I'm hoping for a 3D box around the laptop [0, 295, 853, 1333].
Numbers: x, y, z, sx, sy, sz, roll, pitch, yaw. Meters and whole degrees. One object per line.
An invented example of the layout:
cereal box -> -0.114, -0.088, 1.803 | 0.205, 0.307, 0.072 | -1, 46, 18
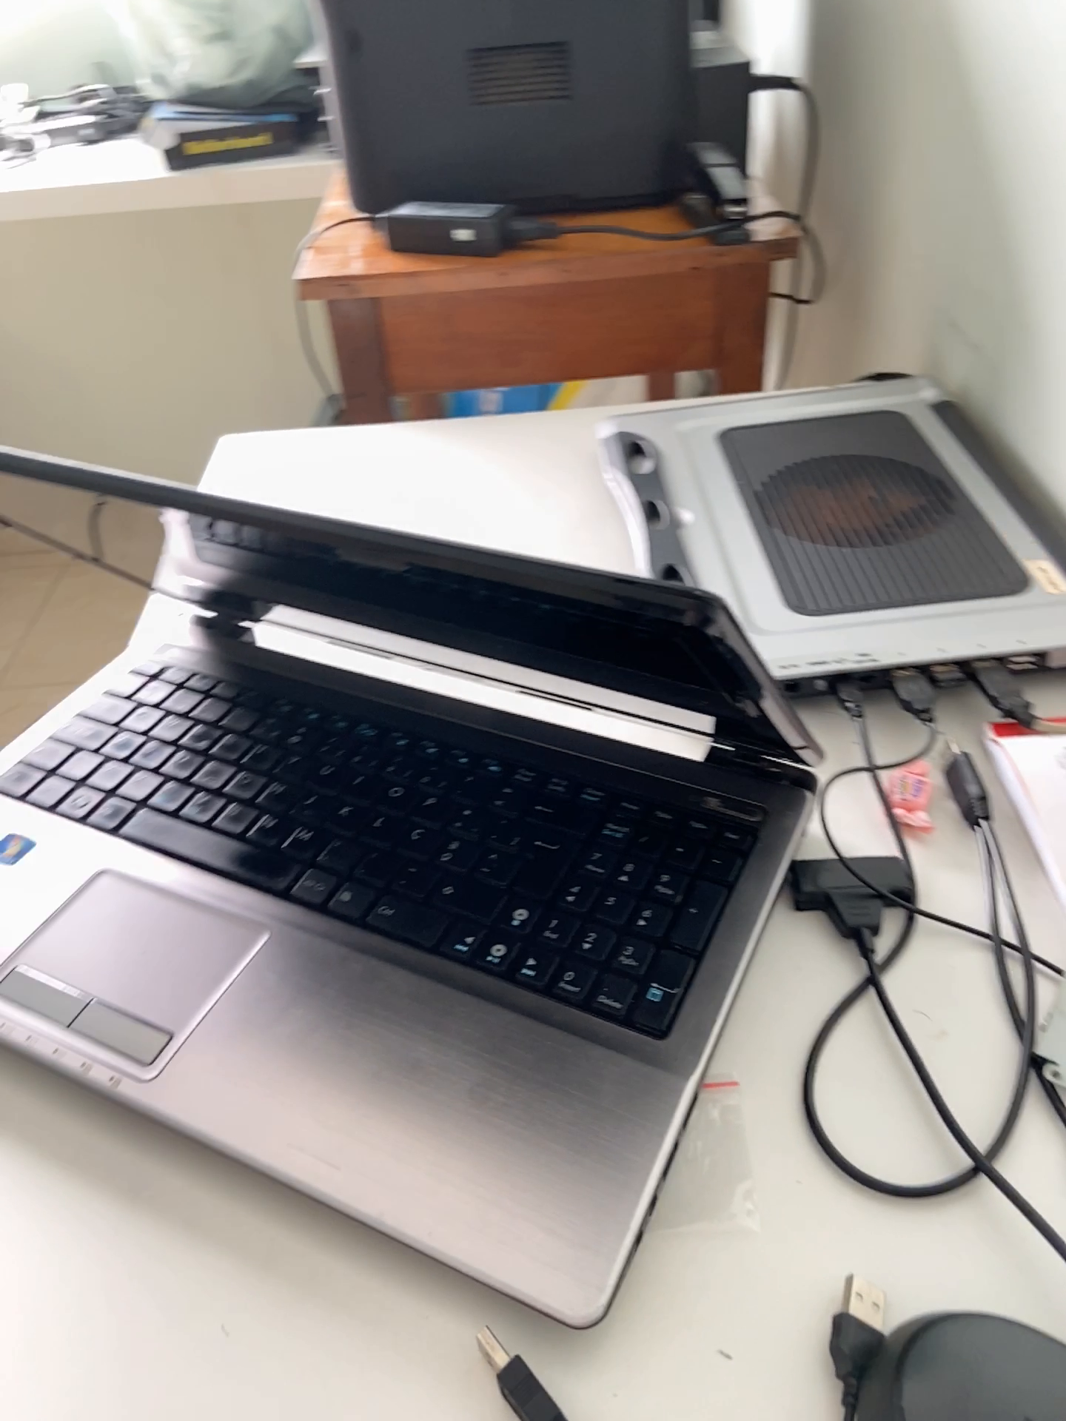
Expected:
laptop -> -0.106, -0.009, 0.419 | 0.376, 0.182, 0.247 | 14, 43, 24
